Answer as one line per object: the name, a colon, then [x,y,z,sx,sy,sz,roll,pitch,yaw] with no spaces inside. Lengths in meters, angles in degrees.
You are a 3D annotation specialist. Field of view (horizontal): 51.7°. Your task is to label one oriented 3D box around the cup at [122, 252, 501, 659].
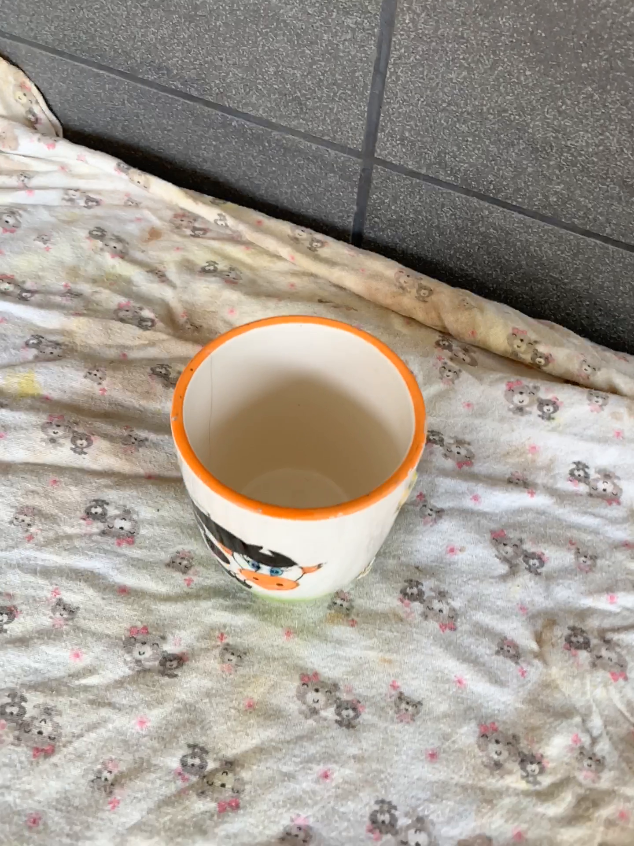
cup: [-0.004,0.013,0.231,0.080,0.090,0.080,2,55,-3]
